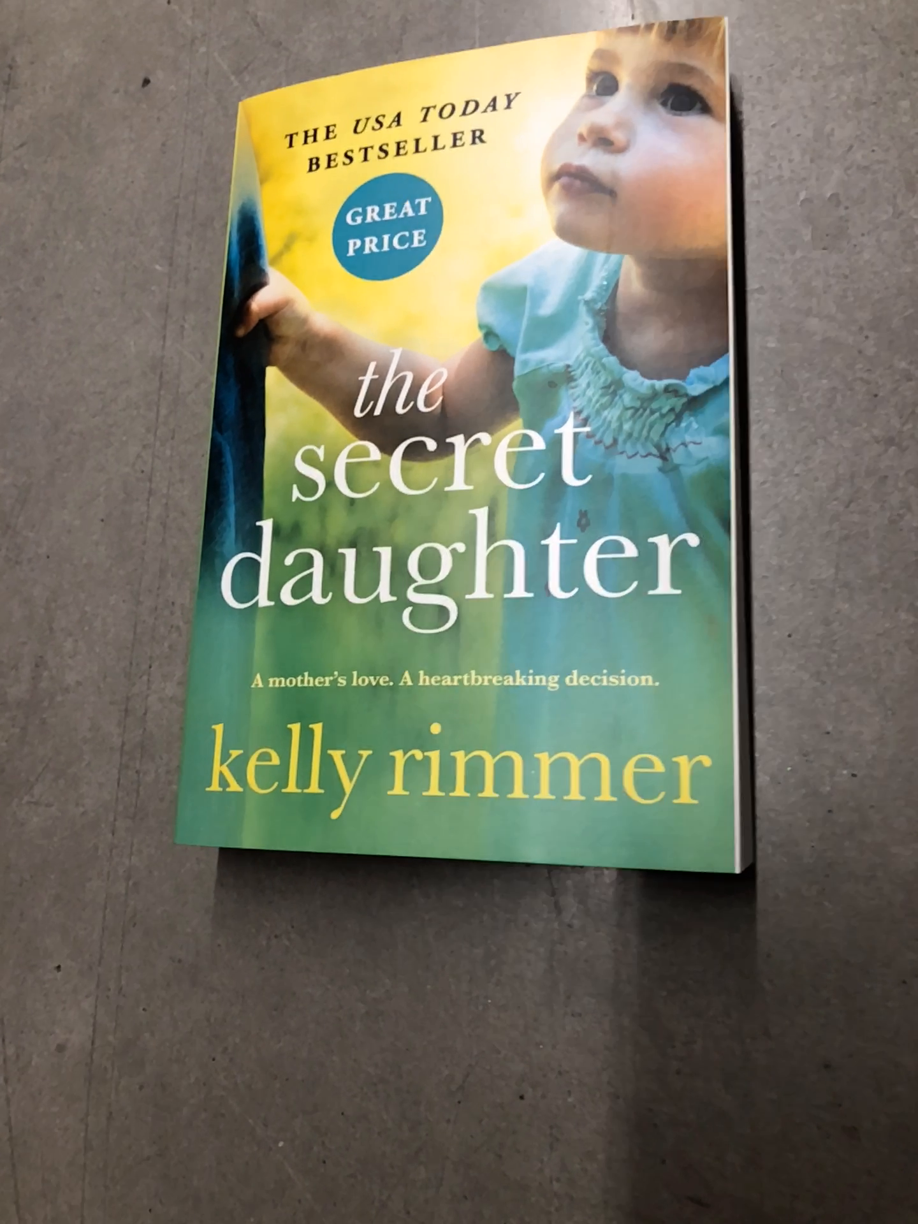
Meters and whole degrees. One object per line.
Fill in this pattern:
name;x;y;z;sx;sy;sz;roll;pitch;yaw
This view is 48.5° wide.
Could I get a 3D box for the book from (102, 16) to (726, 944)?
book;-0.008;-0.034;0.253;0.140;0.030;0.210;-1;78;16
